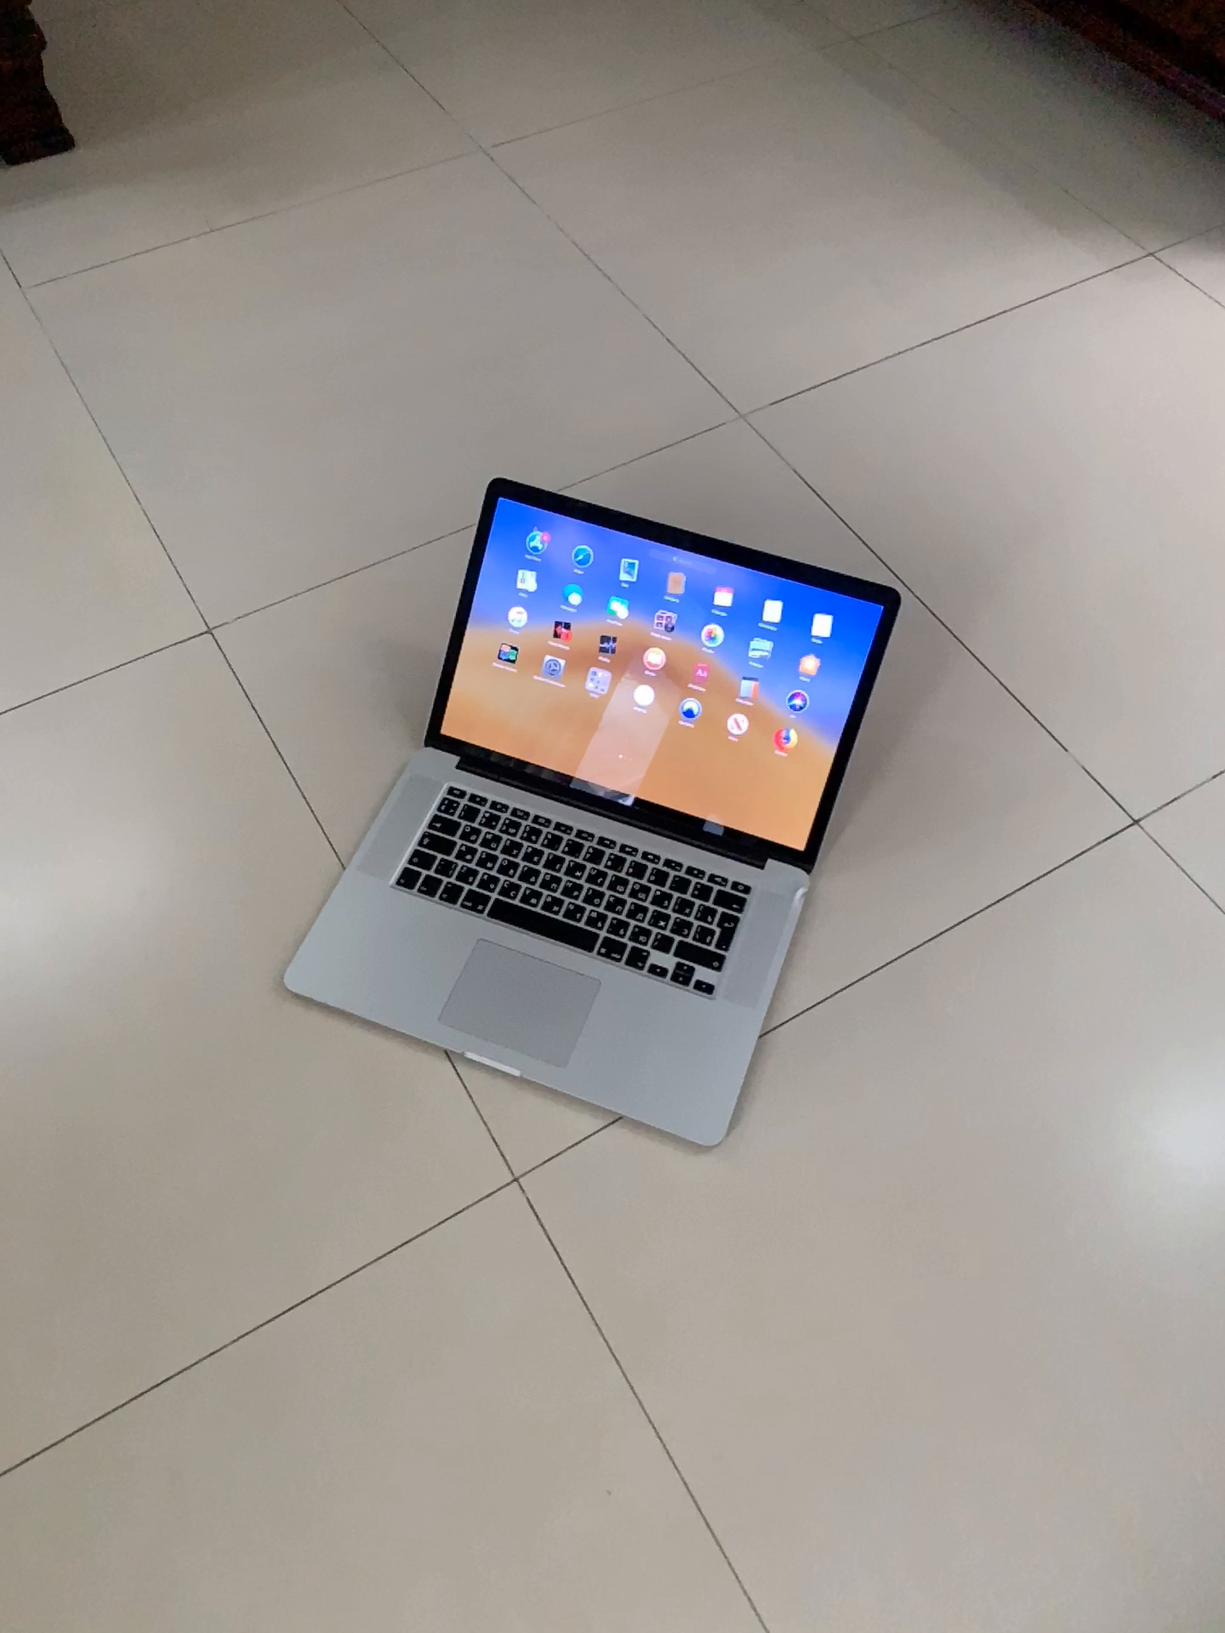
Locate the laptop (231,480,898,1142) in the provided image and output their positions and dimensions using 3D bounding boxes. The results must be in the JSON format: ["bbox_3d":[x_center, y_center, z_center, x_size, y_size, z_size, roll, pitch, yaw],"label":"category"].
[{"bbox_3d":[-0.015,-0.023,0.973,0.352,0.162,0.416,18,58,10],"label":"laptop"}]
